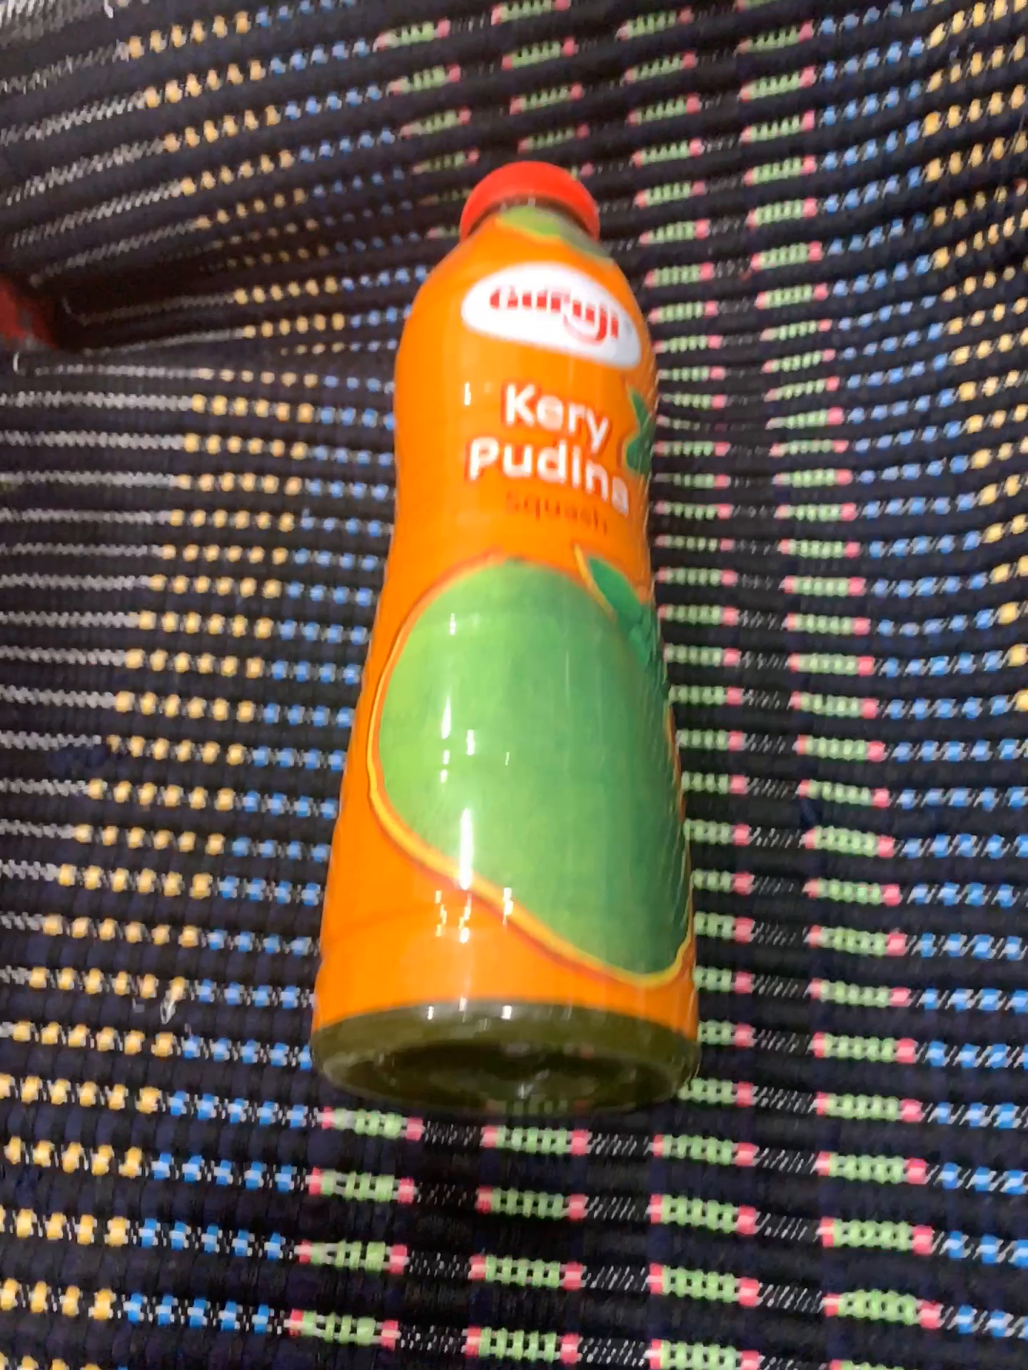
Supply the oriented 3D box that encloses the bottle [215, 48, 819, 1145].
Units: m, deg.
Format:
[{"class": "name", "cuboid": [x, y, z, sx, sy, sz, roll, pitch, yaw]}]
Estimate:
[{"class": "bottle", "cuboid": [0.004, -0.030, 0.238, 0.070, 0.070, 0.231, 28, 50, -33]}]
